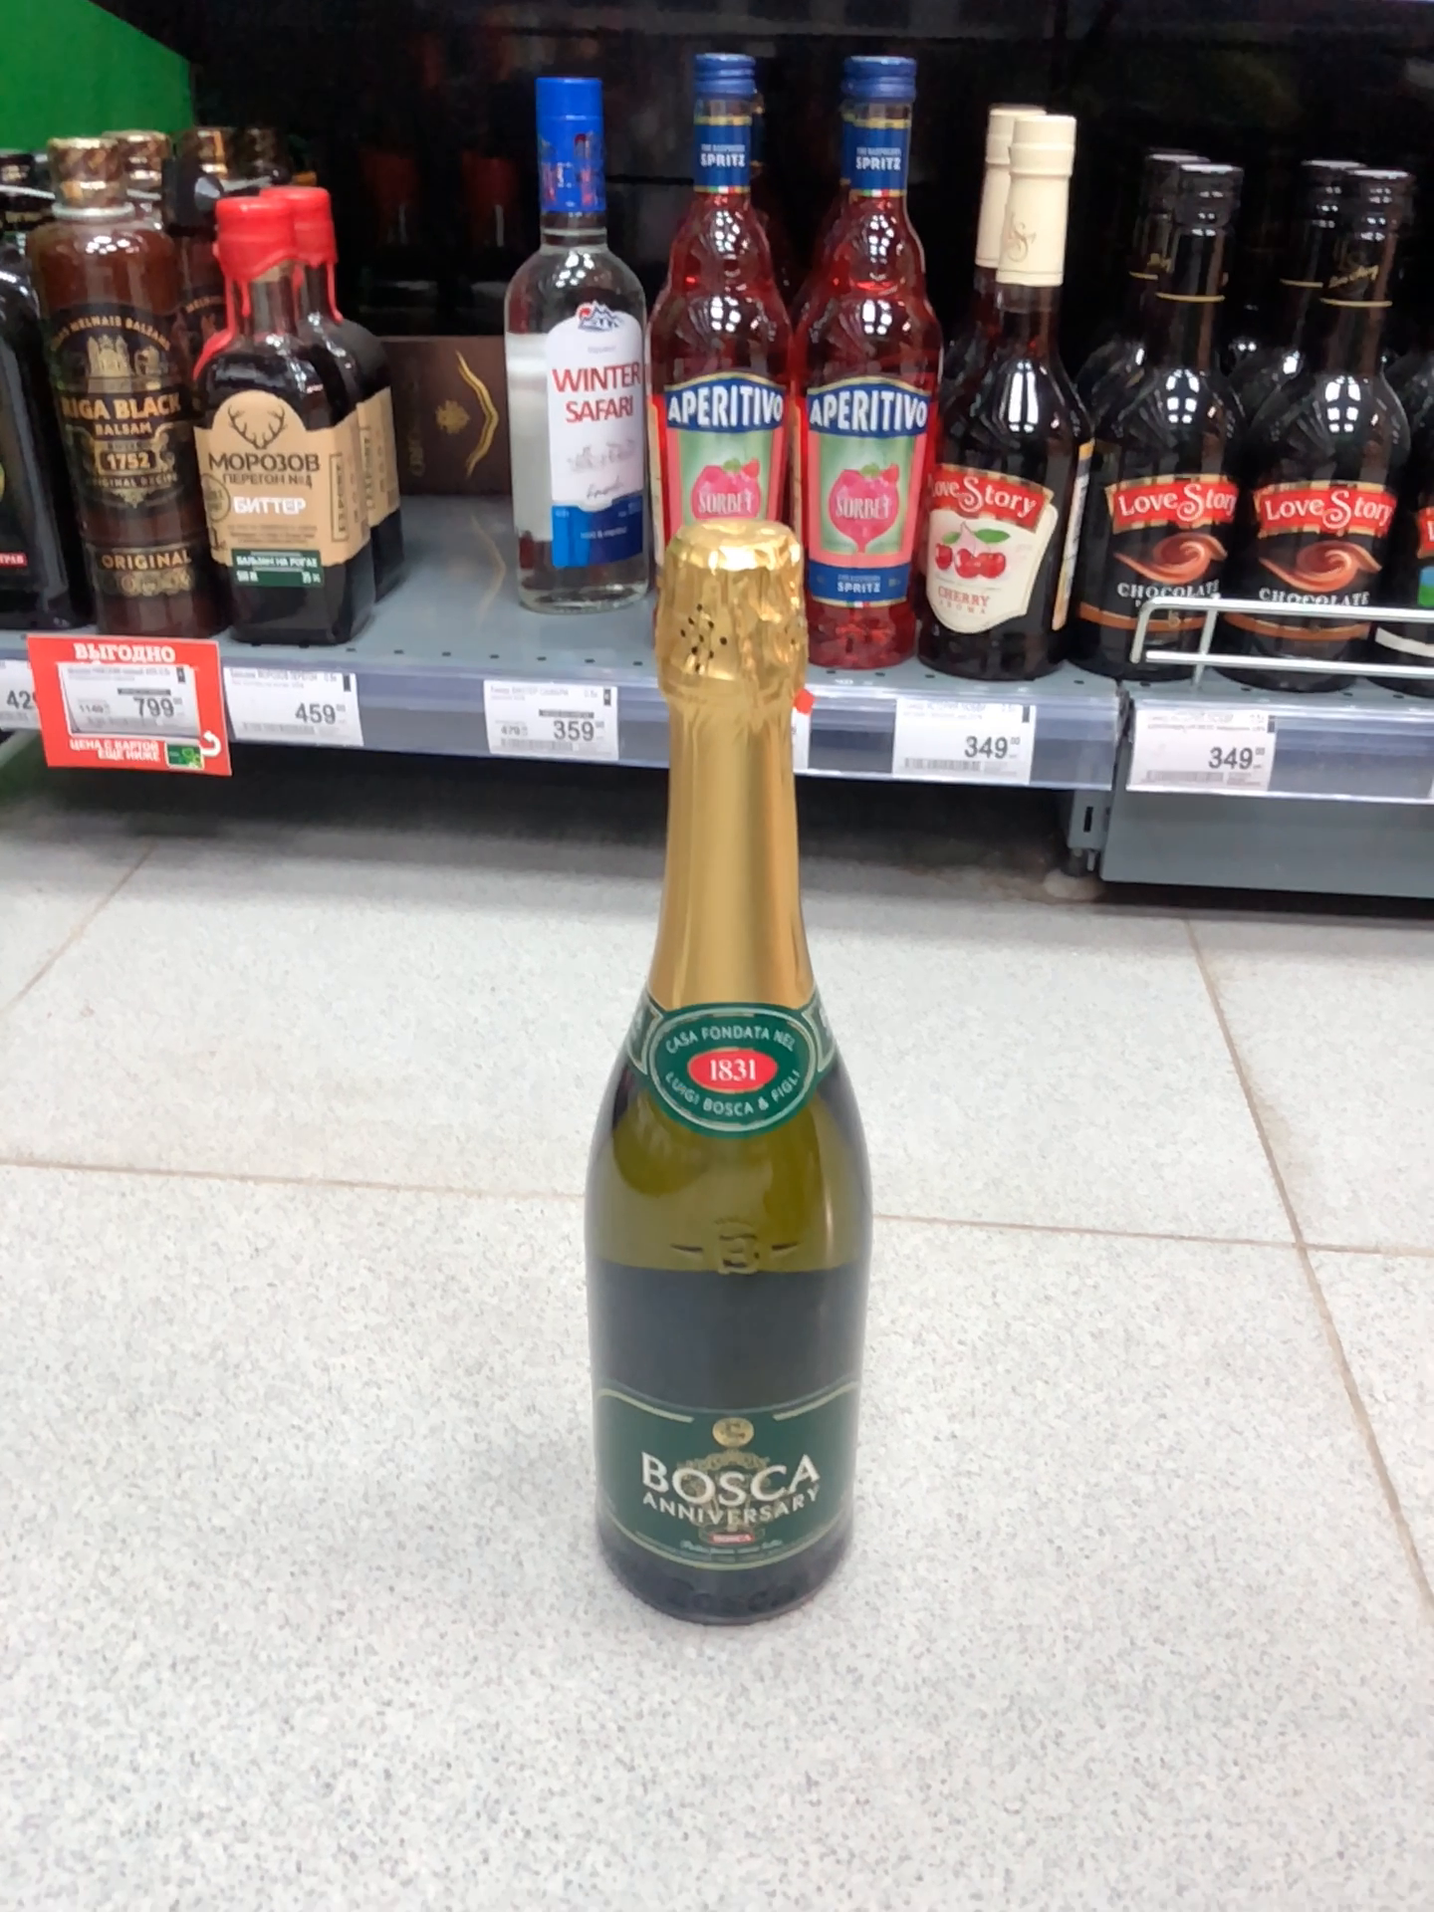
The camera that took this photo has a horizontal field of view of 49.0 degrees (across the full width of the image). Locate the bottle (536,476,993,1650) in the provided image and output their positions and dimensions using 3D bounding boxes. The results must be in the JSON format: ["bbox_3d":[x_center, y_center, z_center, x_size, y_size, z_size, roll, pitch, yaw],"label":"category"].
[{"bbox_3d":[0.009,0.042,0.425,0.090,0.314,0.091,1,29,0],"label":"bottle"}]
